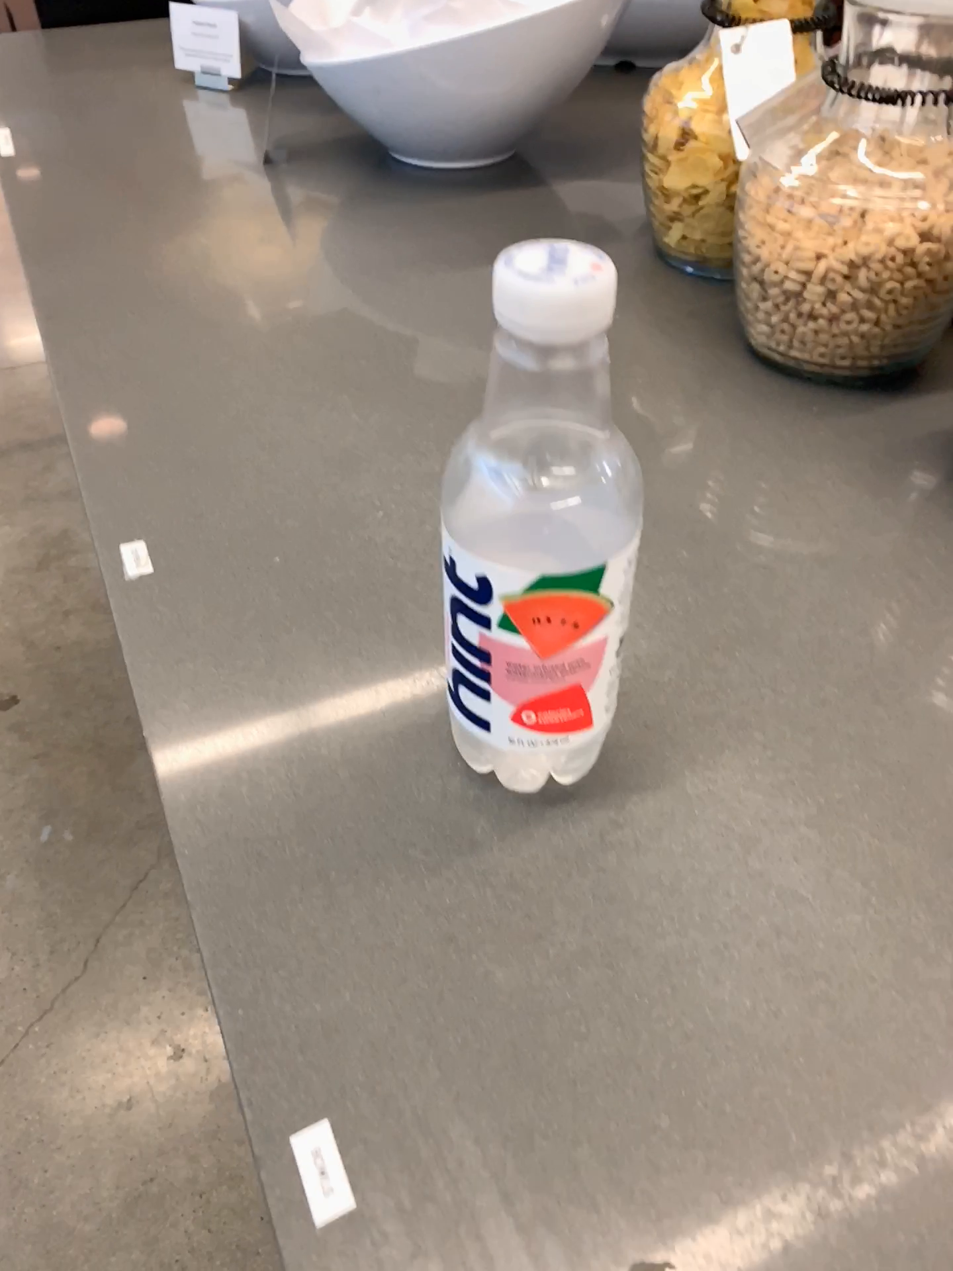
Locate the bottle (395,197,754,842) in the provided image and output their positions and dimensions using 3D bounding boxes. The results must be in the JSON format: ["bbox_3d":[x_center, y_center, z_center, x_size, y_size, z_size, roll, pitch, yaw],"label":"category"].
[{"bbox_3d":[0.024,-0.028,0.332,0.070,0.199,0.070,0,43,0],"label":"bottle"}]
